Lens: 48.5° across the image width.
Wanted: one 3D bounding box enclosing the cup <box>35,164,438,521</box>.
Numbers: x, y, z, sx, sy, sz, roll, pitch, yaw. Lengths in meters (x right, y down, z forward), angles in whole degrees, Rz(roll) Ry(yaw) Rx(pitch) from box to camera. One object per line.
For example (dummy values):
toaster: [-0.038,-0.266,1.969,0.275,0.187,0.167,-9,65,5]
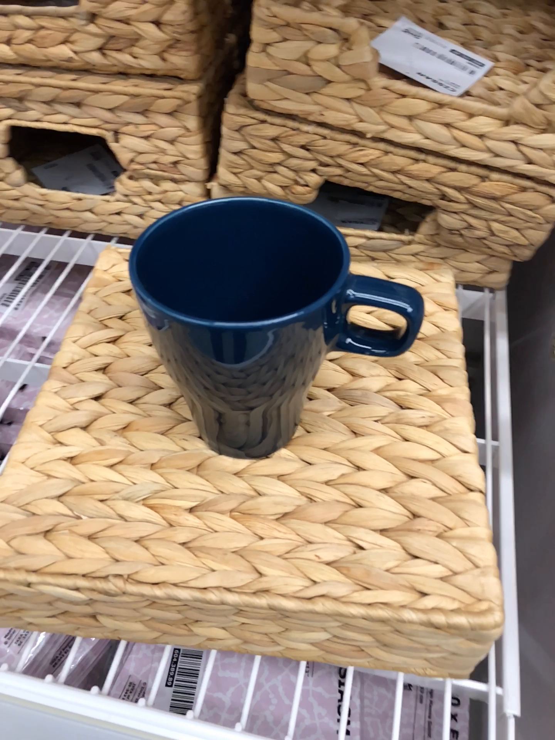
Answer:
cup: [-0.010,-0.013,0.248,0.120,0.090,0.080,14,49,14]
